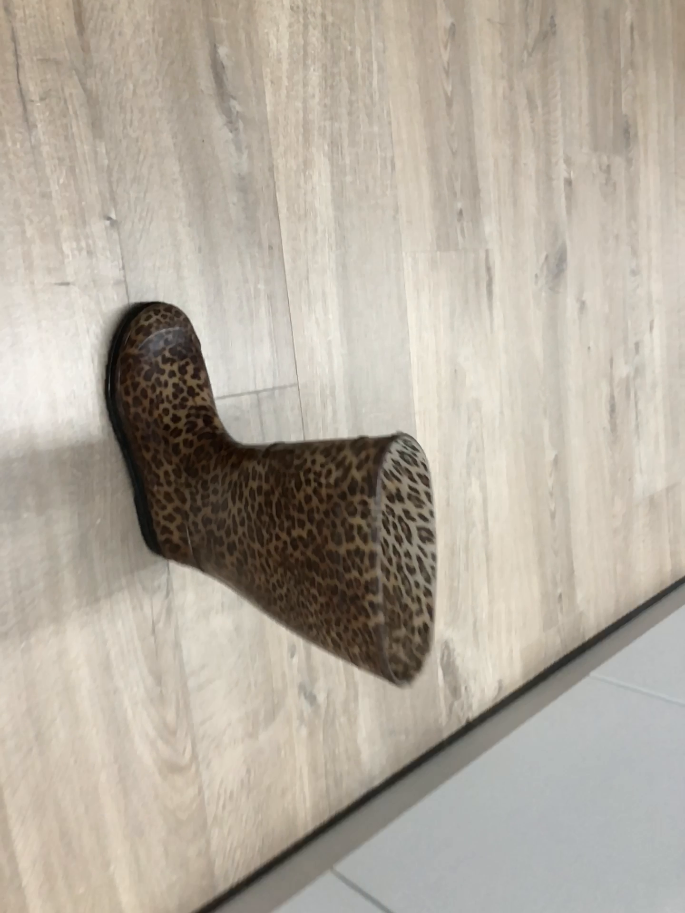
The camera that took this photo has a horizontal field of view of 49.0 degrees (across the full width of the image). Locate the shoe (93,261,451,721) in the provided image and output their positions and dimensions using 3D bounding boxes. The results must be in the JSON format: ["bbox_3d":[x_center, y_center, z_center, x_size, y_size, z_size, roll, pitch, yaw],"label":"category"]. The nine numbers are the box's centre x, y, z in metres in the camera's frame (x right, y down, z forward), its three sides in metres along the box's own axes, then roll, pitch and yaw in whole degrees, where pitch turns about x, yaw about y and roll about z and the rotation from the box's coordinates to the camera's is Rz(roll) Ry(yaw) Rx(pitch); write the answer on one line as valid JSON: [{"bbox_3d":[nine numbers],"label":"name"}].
[{"bbox_3d":[-0.075,0.009,0.605,0.090,0.338,0.280,-8,100,-42],"label":"shoe"}]
